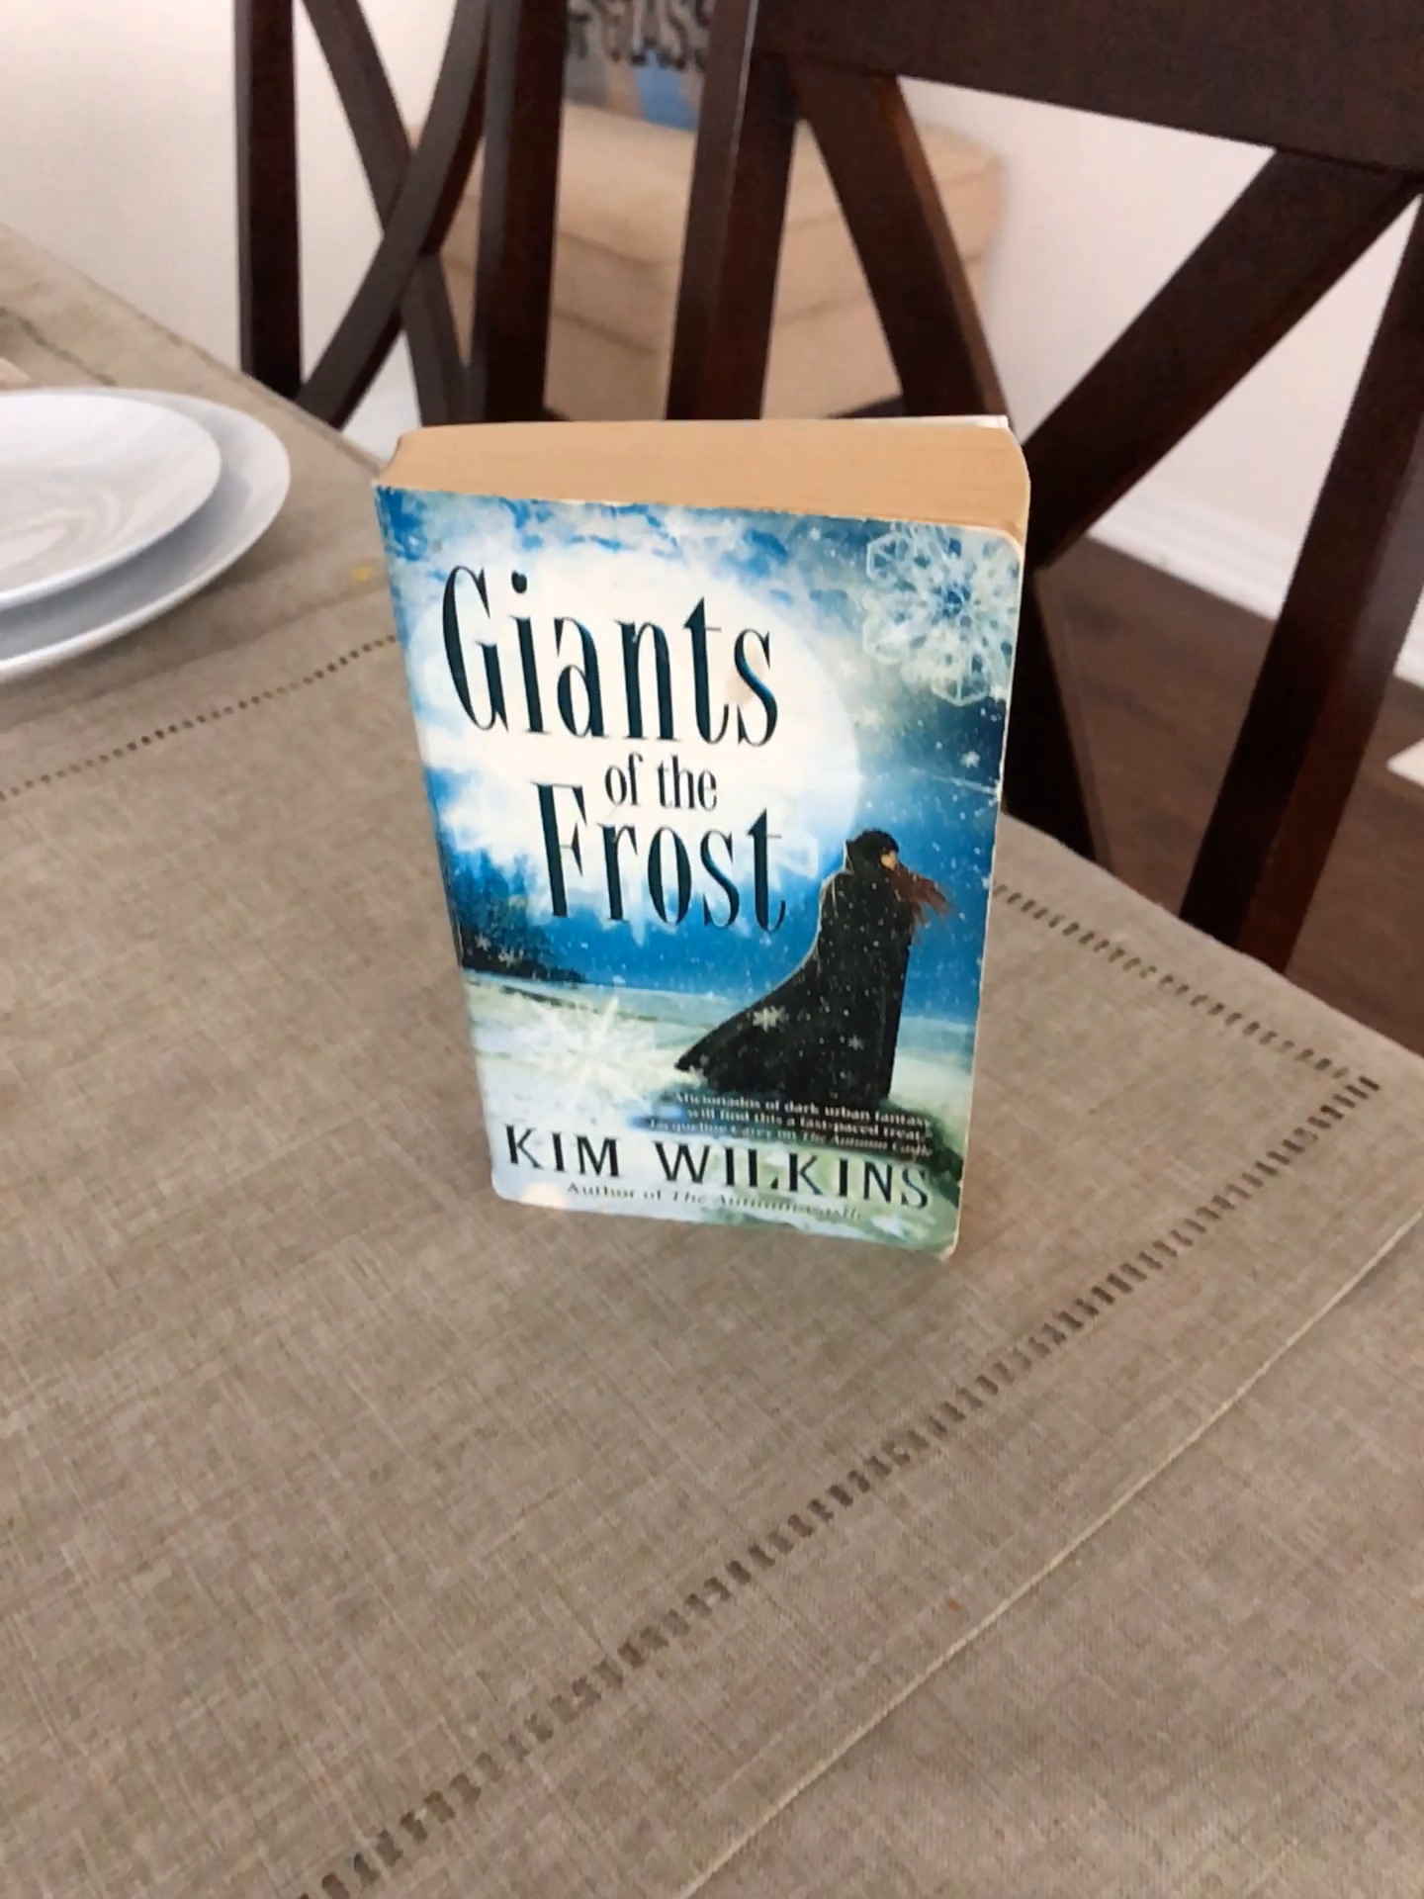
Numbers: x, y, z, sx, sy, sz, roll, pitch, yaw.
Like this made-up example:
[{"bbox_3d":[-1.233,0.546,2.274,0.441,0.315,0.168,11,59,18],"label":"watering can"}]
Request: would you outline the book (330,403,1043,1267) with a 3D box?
[{"bbox_3d":[0.001,-0.015,0.313,0.111,0.168,0.043,4,38,8],"label":"book"}]
